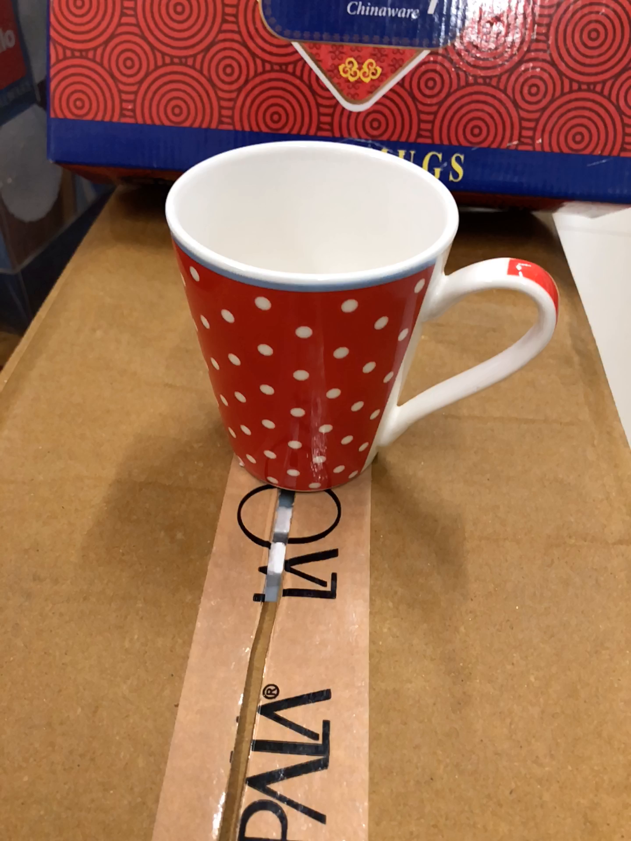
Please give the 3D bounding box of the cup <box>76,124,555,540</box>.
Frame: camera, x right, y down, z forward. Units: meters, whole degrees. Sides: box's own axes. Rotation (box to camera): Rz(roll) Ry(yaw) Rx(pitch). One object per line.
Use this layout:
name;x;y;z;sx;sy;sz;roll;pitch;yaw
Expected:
cup;0.004;-0.031;0.232;0.120;0.089;0.081;10;44;7
